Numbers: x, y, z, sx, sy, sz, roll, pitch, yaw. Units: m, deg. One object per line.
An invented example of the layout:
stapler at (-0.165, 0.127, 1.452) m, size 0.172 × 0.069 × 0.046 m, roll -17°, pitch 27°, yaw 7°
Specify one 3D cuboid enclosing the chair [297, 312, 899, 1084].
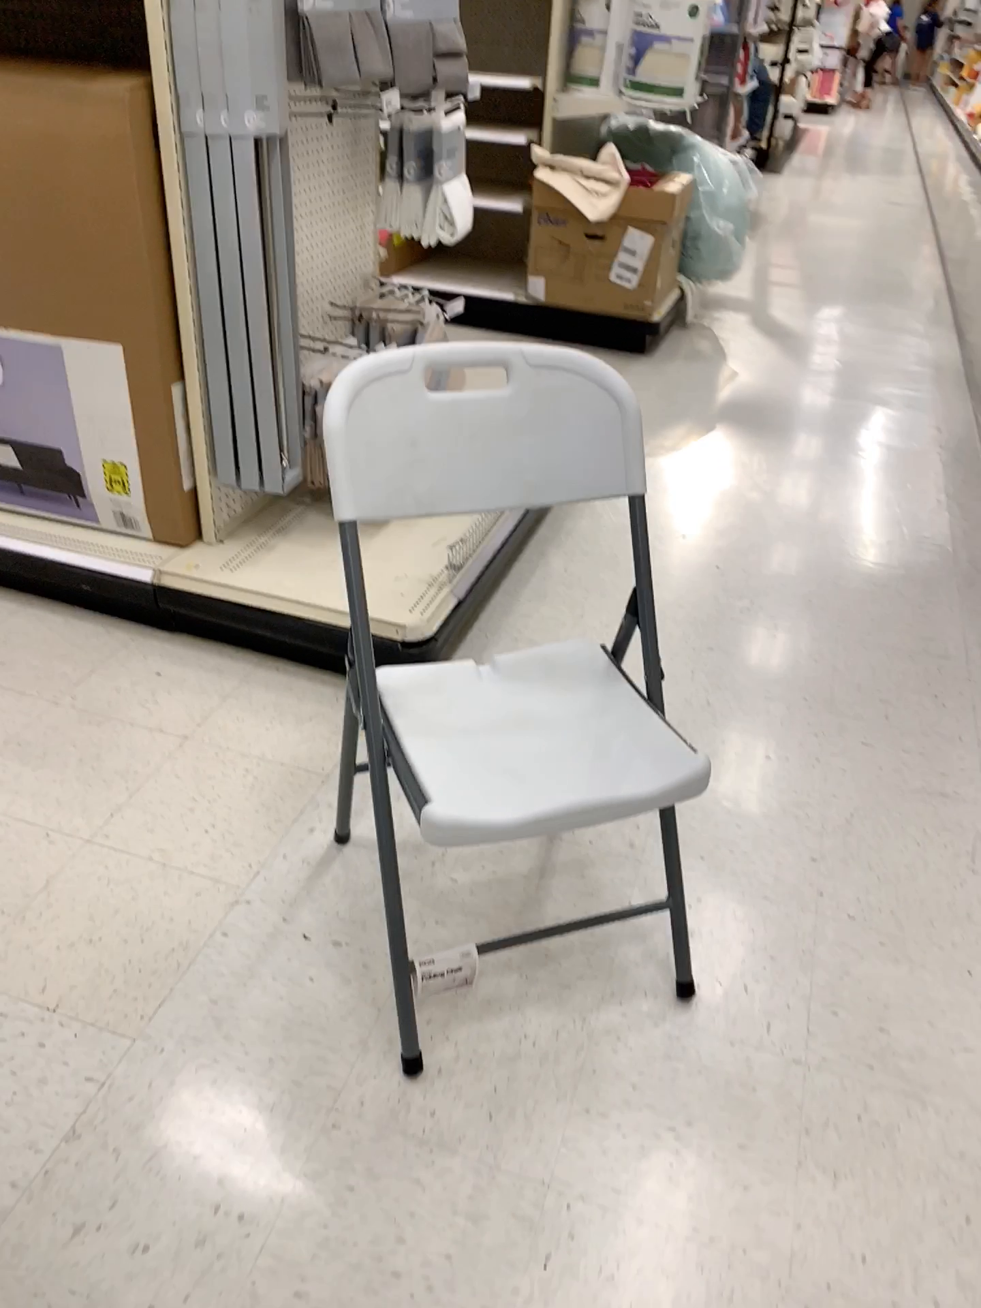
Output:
chair at (0.060, 0.034, 1.416) m, size 0.520 × 0.845 × 0.573 m, roll -9°, pitch 36°, yaw -19°
